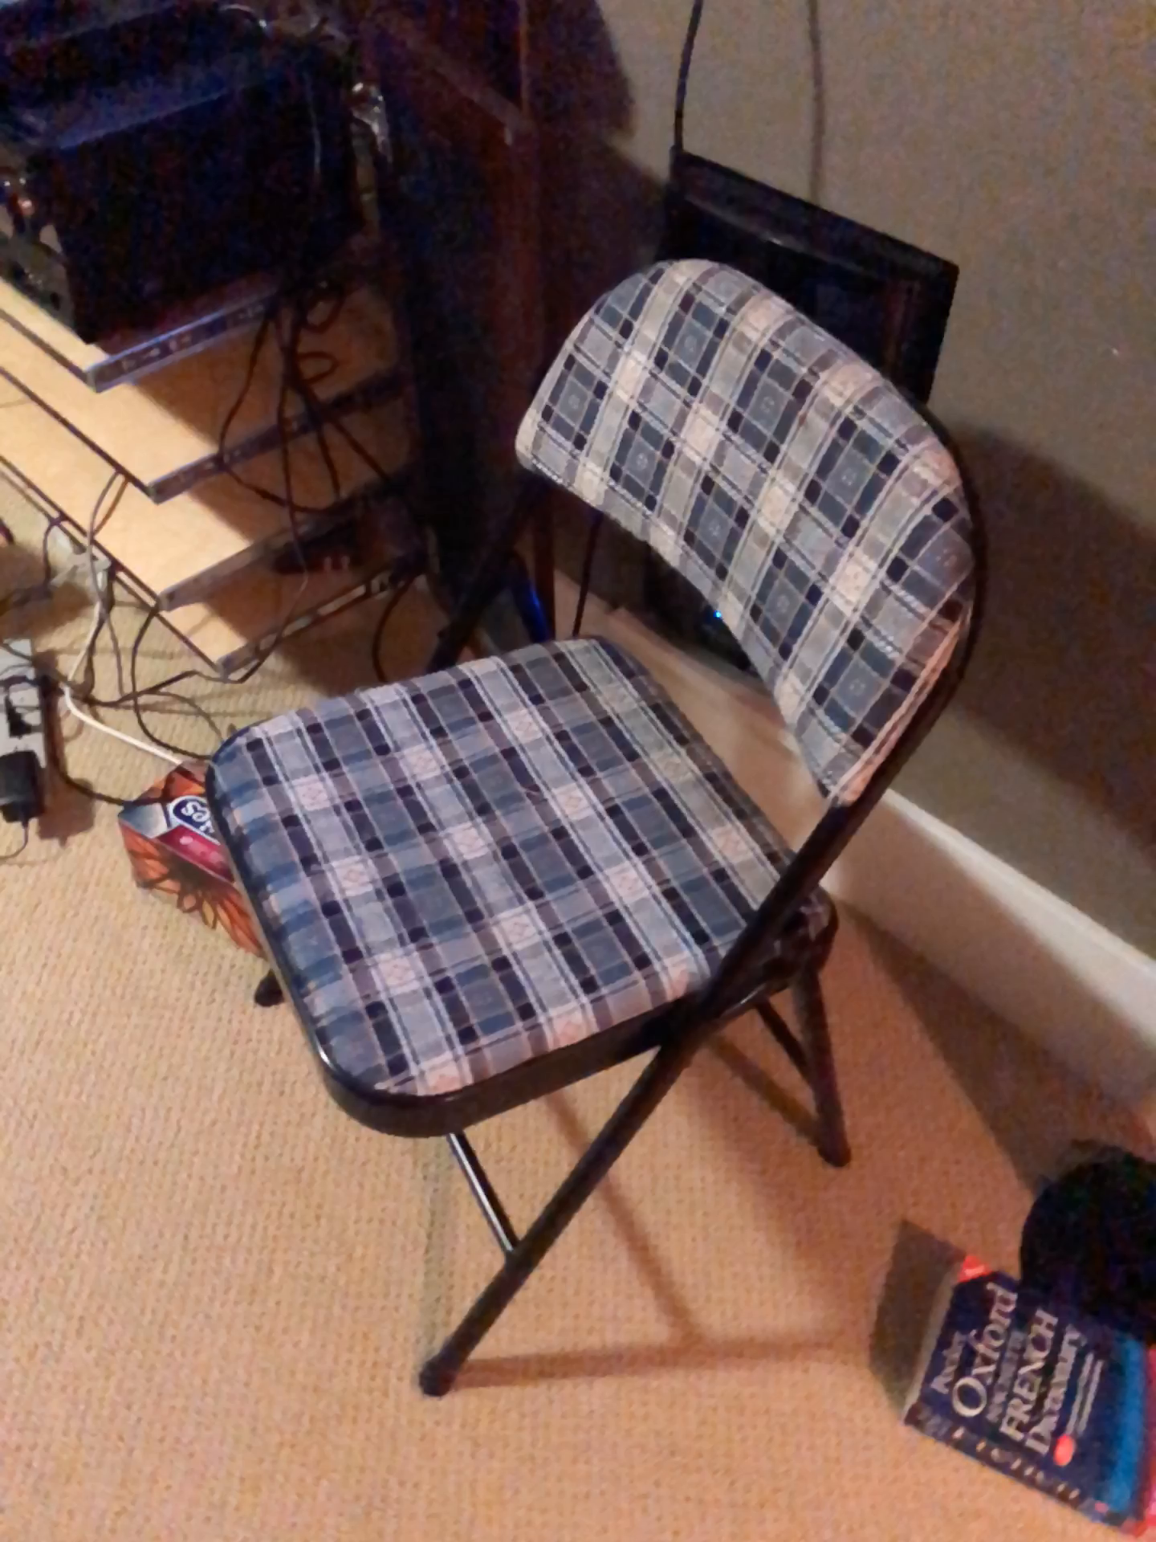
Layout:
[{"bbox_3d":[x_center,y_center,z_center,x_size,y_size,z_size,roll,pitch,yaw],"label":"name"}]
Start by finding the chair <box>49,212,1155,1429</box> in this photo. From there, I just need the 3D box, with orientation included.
[{"bbox_3d":[0.005,0.047,1.025,0.561,0.705,0.503,-19,49,-18],"label":"chair"}]
